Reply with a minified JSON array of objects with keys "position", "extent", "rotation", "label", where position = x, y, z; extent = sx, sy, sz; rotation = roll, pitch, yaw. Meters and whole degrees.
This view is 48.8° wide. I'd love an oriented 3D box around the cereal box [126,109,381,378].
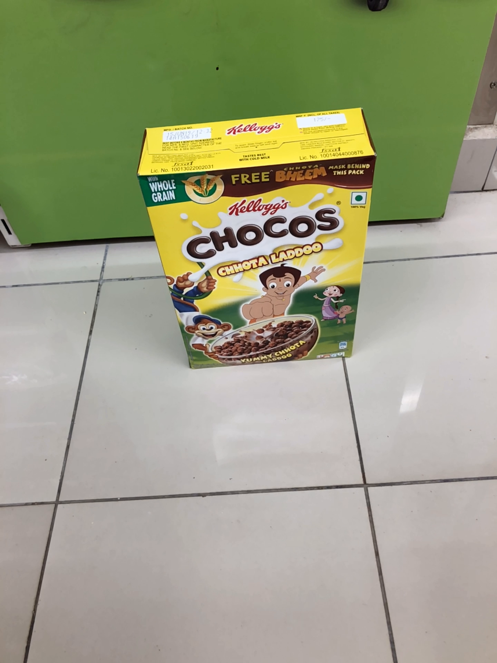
[{"position":[0.010,-0.066,0.529],"extent":[0.190,0.259,0.070],"rotation":[-5,50,1],"label":"cereal box"}]
